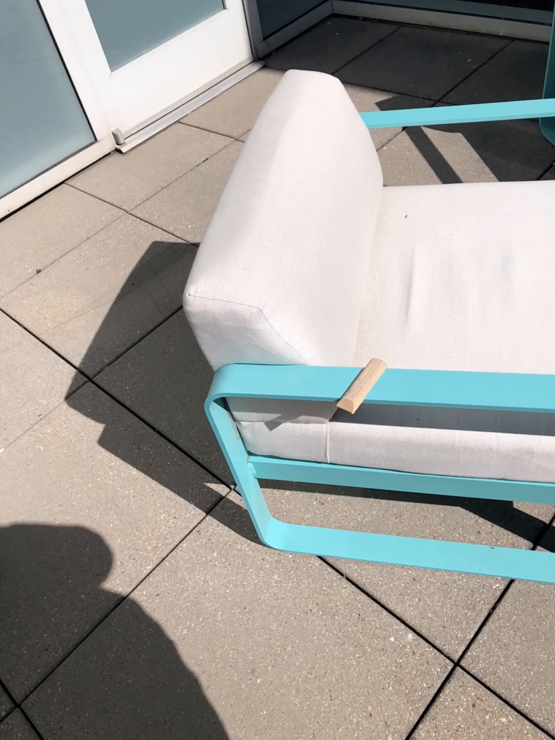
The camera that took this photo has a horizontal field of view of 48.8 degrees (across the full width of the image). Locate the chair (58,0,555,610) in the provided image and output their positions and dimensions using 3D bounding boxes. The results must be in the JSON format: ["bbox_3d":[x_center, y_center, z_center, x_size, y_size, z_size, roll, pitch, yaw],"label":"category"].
[{"bbox_3d":[0.294,-0.165,1.204,0.871,0.766,0.903,0,48,13],"label":"chair"}]
